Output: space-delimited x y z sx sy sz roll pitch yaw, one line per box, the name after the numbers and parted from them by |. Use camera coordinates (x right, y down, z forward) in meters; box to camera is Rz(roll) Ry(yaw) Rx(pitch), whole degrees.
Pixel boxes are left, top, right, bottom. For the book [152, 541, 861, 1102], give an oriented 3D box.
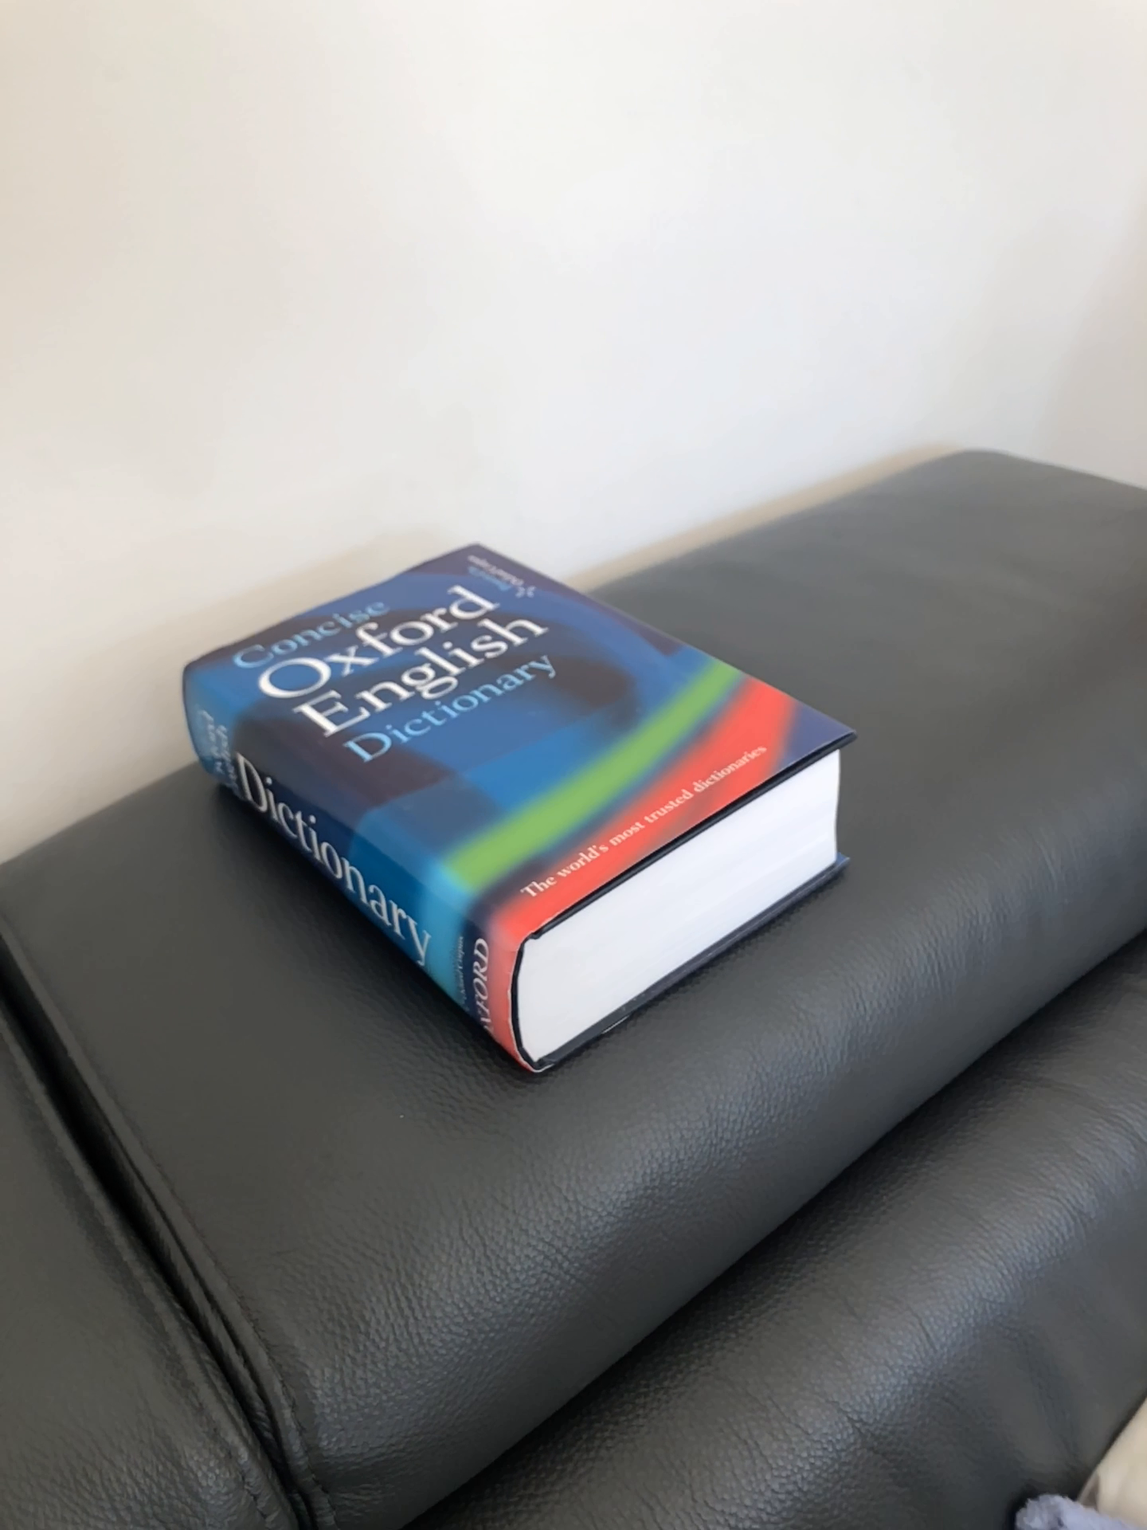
-0.035 0.000 0.532 0.171 0.070 0.250 -29 40 -30 | book
